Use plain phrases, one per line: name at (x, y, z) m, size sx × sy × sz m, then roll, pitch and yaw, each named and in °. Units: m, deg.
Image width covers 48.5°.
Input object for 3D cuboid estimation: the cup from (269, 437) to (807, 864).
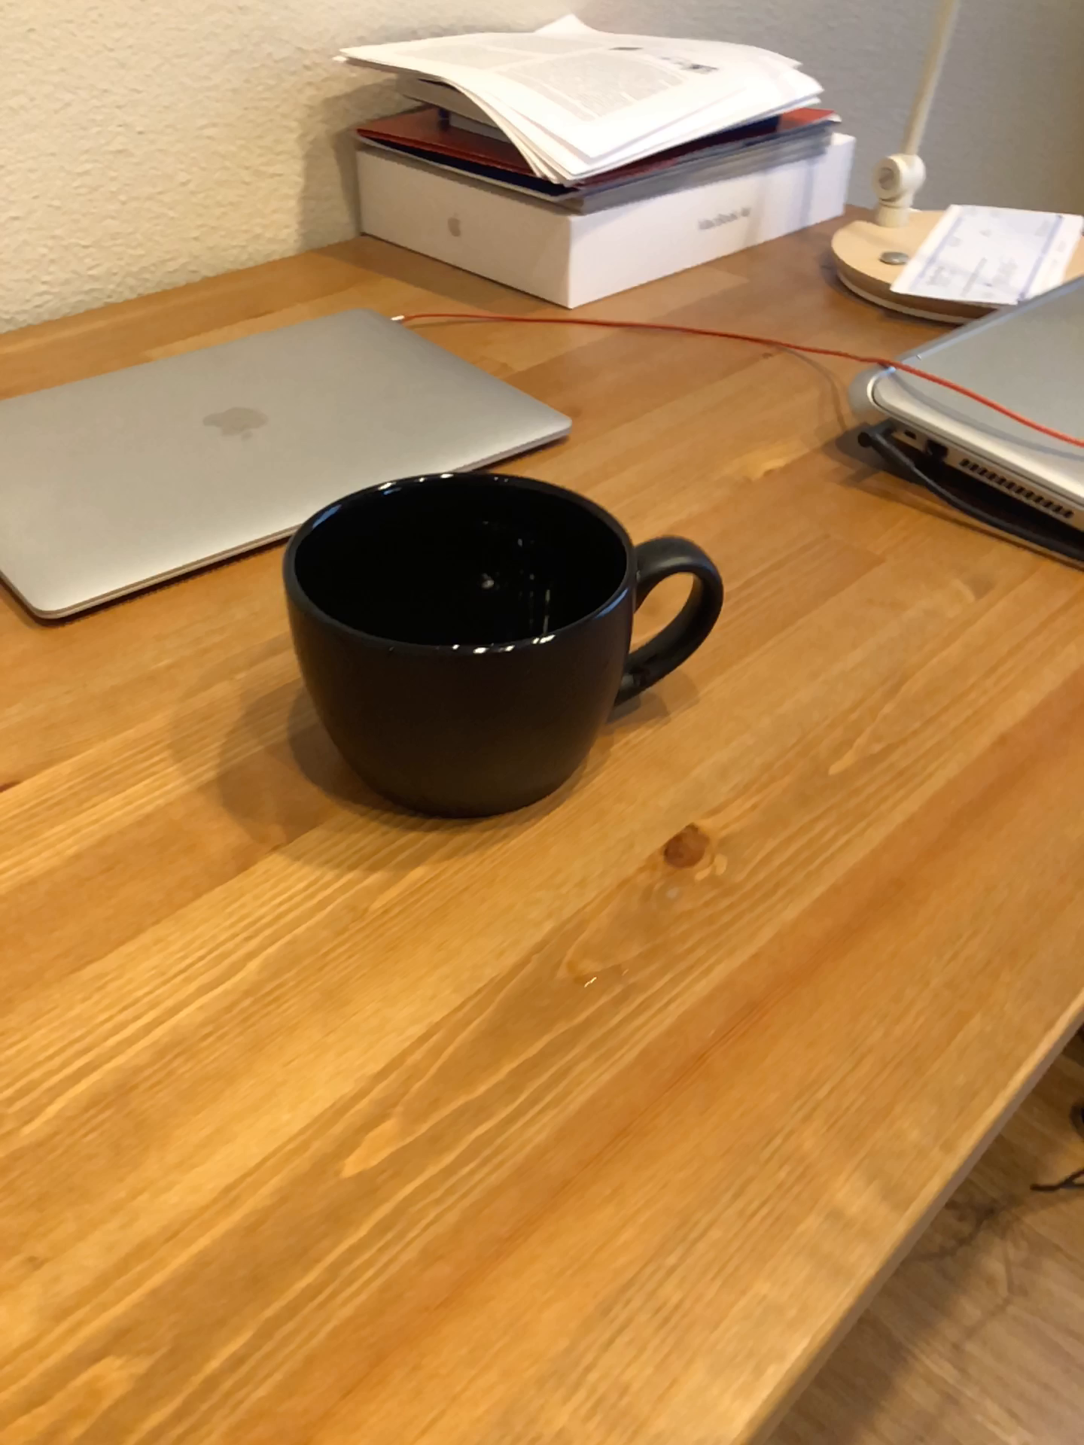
cup at (-0.008, -0.033, 0.444) m, size 0.160 × 0.080 × 0.120 m, roll -10°, pitch 40°, yaw -13°
